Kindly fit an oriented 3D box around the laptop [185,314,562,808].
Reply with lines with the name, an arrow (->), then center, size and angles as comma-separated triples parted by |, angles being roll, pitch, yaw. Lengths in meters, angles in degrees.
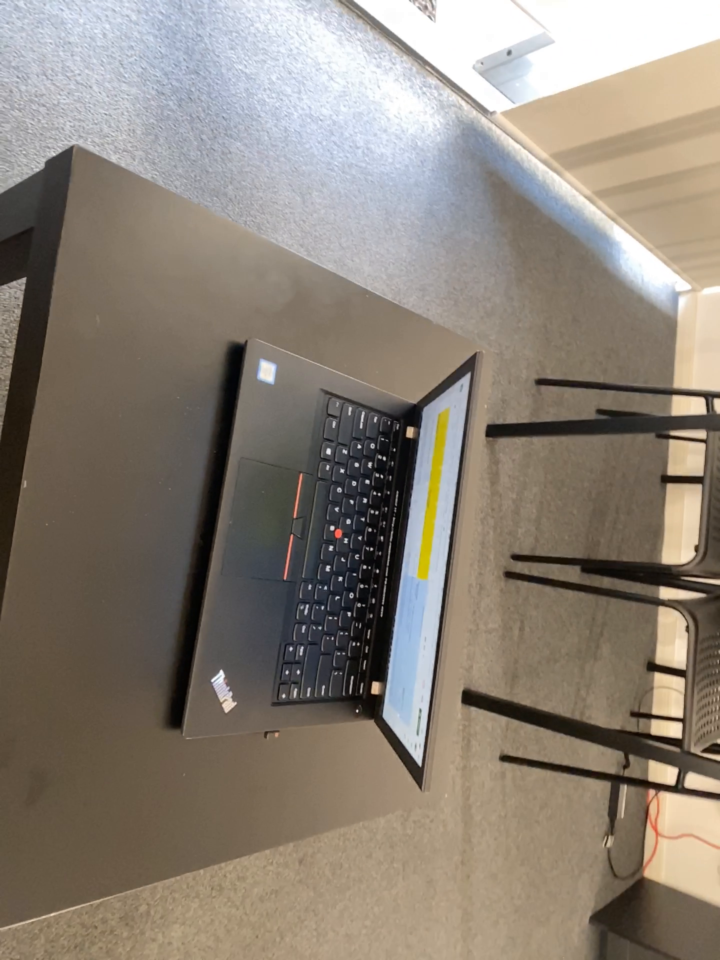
laptop -> 0.021, 0.064, 0.627 | 0.225, 0.165, 0.331 | 14, 82, -45
